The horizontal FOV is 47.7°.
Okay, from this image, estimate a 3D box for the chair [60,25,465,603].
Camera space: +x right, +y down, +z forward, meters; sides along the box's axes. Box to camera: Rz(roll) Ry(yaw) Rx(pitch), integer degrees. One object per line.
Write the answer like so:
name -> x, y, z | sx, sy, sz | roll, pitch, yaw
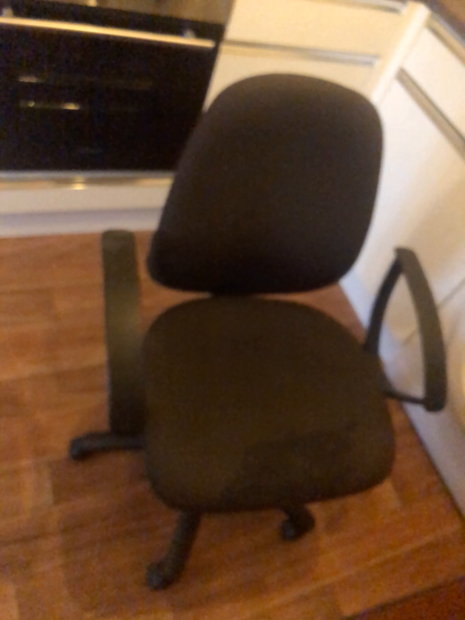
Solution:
chair -> 0.048, 0.089, 1.026 | 0.674, 0.816, 0.655 | 3, 53, -19
